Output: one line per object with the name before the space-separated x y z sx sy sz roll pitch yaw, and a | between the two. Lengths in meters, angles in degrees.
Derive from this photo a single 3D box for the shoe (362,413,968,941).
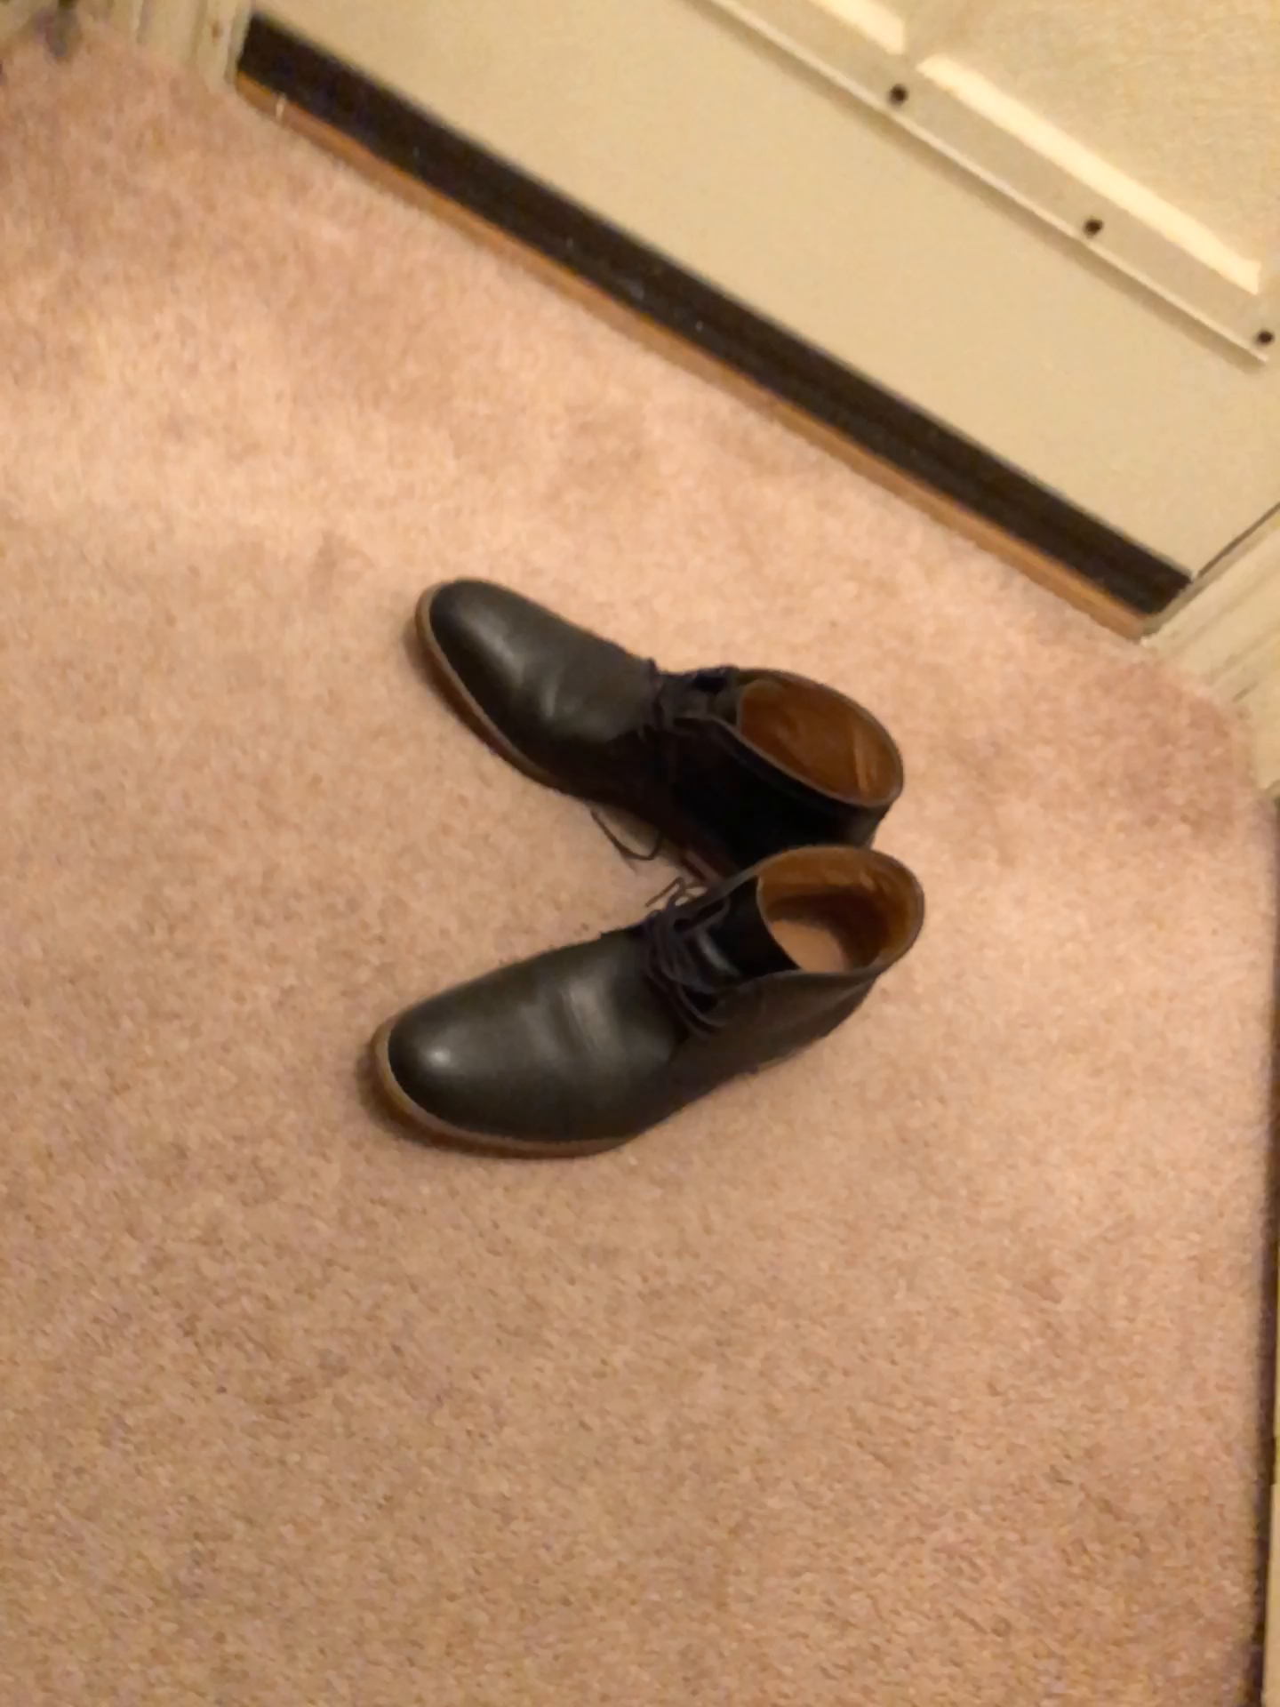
shoe | 0.015 -0.094 0.821 0.302 0.135 0.117 29 53 -9

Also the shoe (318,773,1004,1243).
shoe | 0.013 0.071 0.720 0.303 0.135 0.116 -15 70 -33
